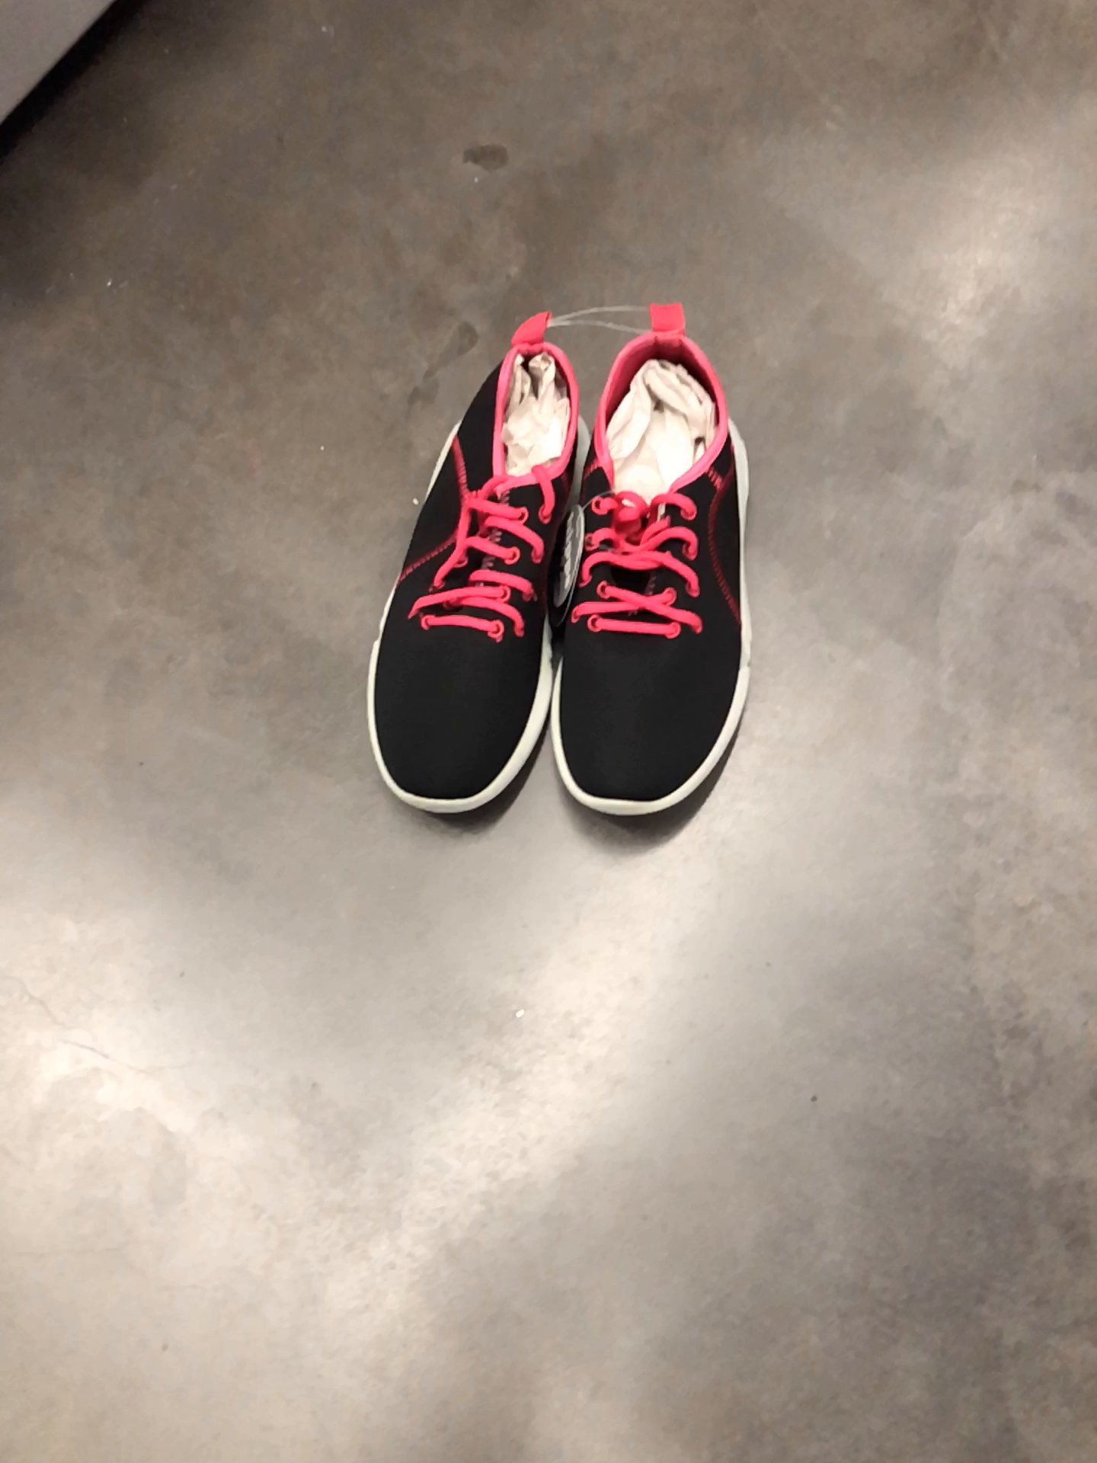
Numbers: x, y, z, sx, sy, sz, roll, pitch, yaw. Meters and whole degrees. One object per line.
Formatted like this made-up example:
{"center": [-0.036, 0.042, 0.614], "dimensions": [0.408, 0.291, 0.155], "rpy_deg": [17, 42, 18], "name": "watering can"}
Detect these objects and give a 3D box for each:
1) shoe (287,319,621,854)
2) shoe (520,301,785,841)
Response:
{"center": [-0.034, -0.072, 0.578], "dimensions": [0.100, 0.090, 0.231], "rpy_deg": [9, 68, 8], "name": "shoe"}
{"center": [0.052, -0.076, 0.557], "dimensions": [0.100, 0.090, 0.231], "rpy_deg": [3, 67, 6], "name": "shoe"}
